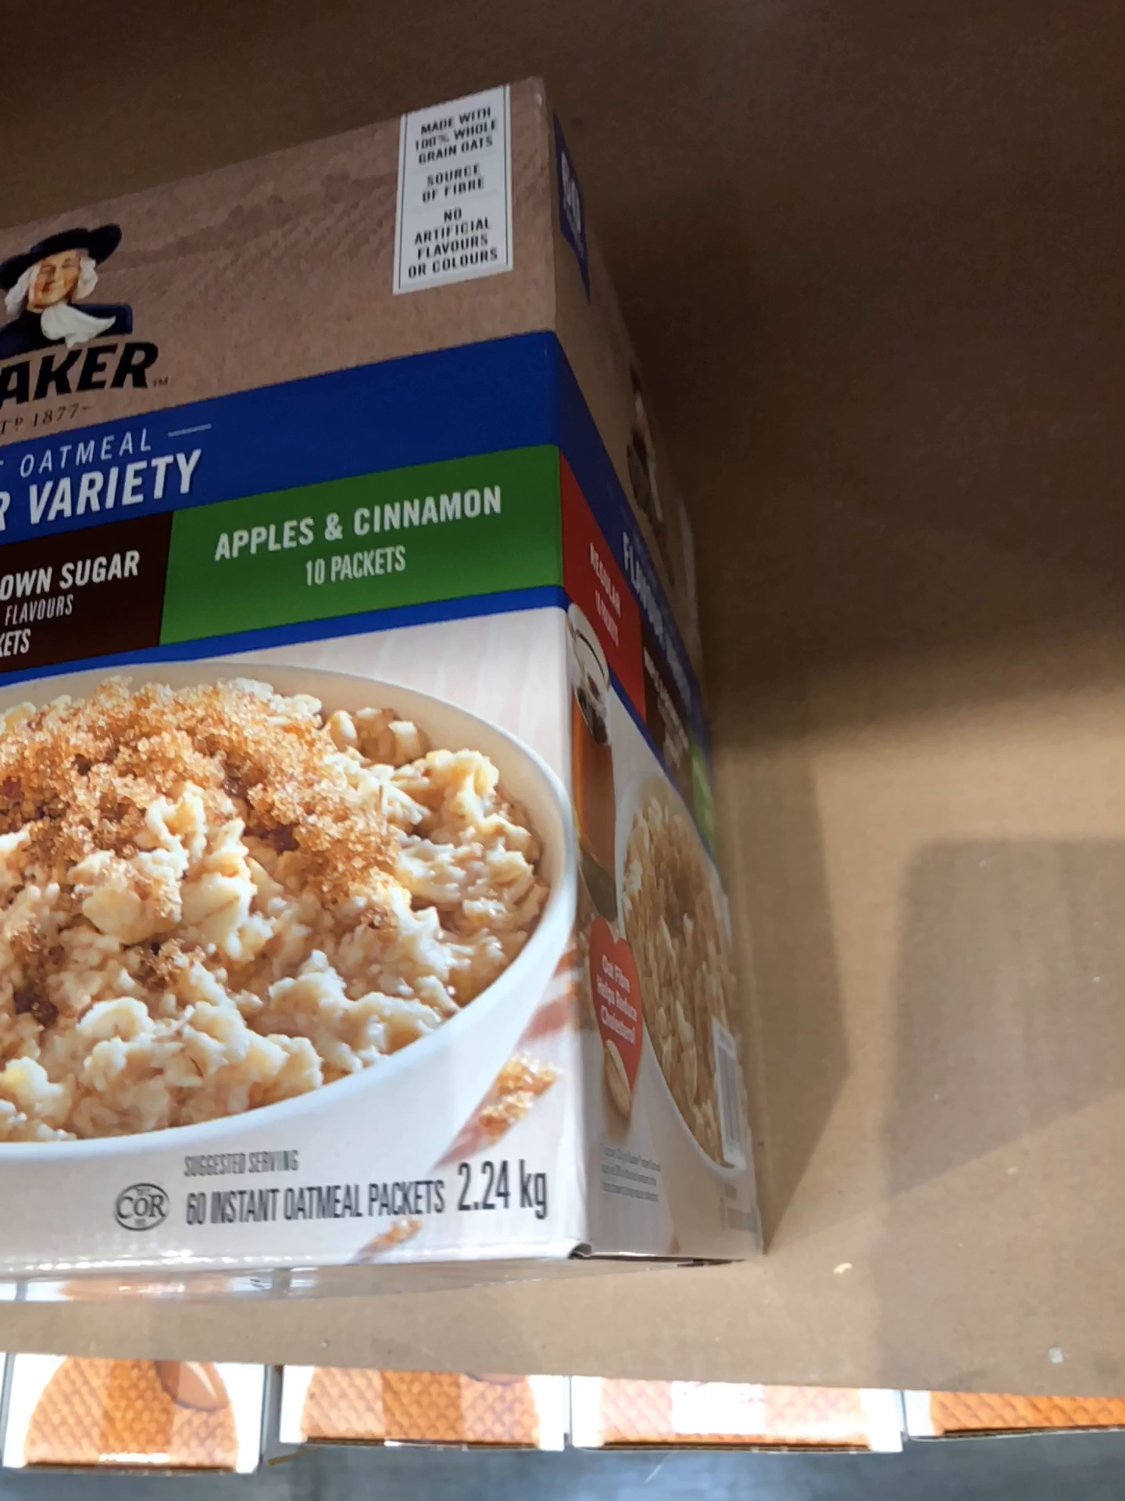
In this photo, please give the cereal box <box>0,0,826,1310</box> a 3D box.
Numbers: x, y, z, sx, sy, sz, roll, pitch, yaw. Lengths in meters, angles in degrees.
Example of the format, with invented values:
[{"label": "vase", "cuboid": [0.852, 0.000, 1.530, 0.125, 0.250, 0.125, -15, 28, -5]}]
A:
[{"label": "cereal box", "cuboid": [-0.075, 0.004, 0.337, 0.240, 0.200, 0.260, -8, 65, 14]}]
